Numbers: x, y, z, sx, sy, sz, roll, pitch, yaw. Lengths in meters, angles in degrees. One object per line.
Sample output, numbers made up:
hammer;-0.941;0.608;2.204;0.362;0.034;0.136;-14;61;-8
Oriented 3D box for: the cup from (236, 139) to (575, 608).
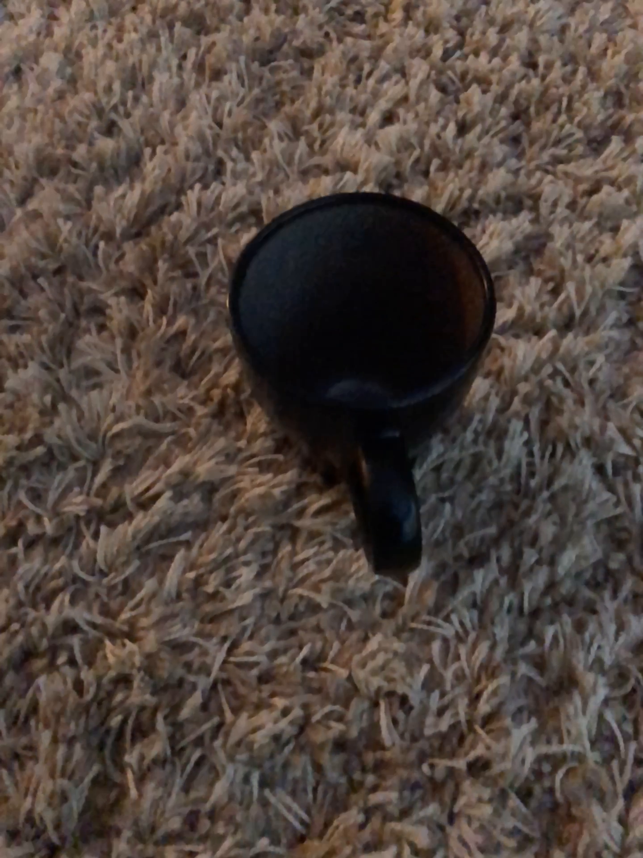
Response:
cup;0.021;-0.019;0.263;0.090;0.090;0.141;-5;61;1
